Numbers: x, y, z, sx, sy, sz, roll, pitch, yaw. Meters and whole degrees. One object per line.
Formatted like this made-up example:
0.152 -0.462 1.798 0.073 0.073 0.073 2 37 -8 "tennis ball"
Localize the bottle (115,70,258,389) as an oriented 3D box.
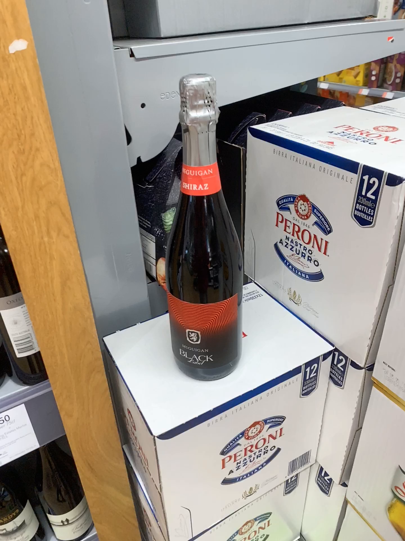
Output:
-0.002 -0.030 0.406 0.090 0.289 0.095 -2 31 1 "bottle"
